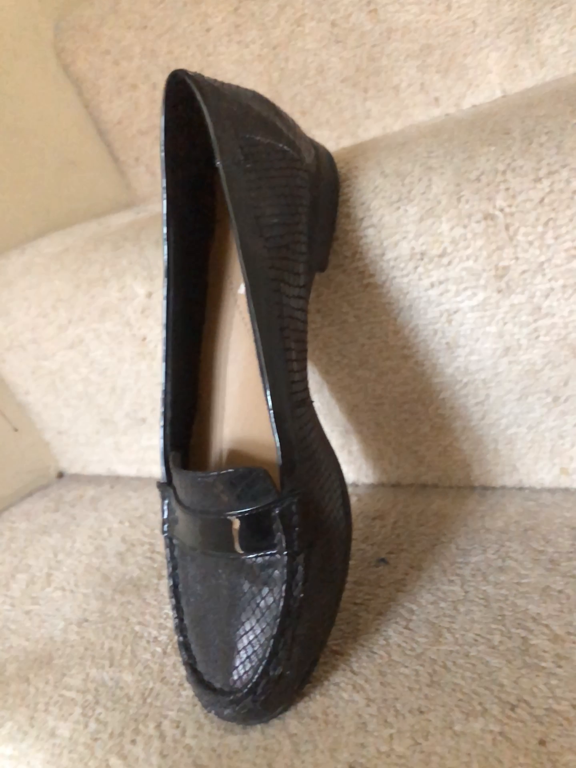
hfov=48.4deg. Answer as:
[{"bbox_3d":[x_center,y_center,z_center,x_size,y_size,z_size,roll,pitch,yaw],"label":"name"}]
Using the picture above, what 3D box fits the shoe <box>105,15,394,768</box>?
[{"bbox_3d":[-0.017,0.003,0.271,0.090,0.260,0.070,-4,-4,31],"label":"shoe"}]
